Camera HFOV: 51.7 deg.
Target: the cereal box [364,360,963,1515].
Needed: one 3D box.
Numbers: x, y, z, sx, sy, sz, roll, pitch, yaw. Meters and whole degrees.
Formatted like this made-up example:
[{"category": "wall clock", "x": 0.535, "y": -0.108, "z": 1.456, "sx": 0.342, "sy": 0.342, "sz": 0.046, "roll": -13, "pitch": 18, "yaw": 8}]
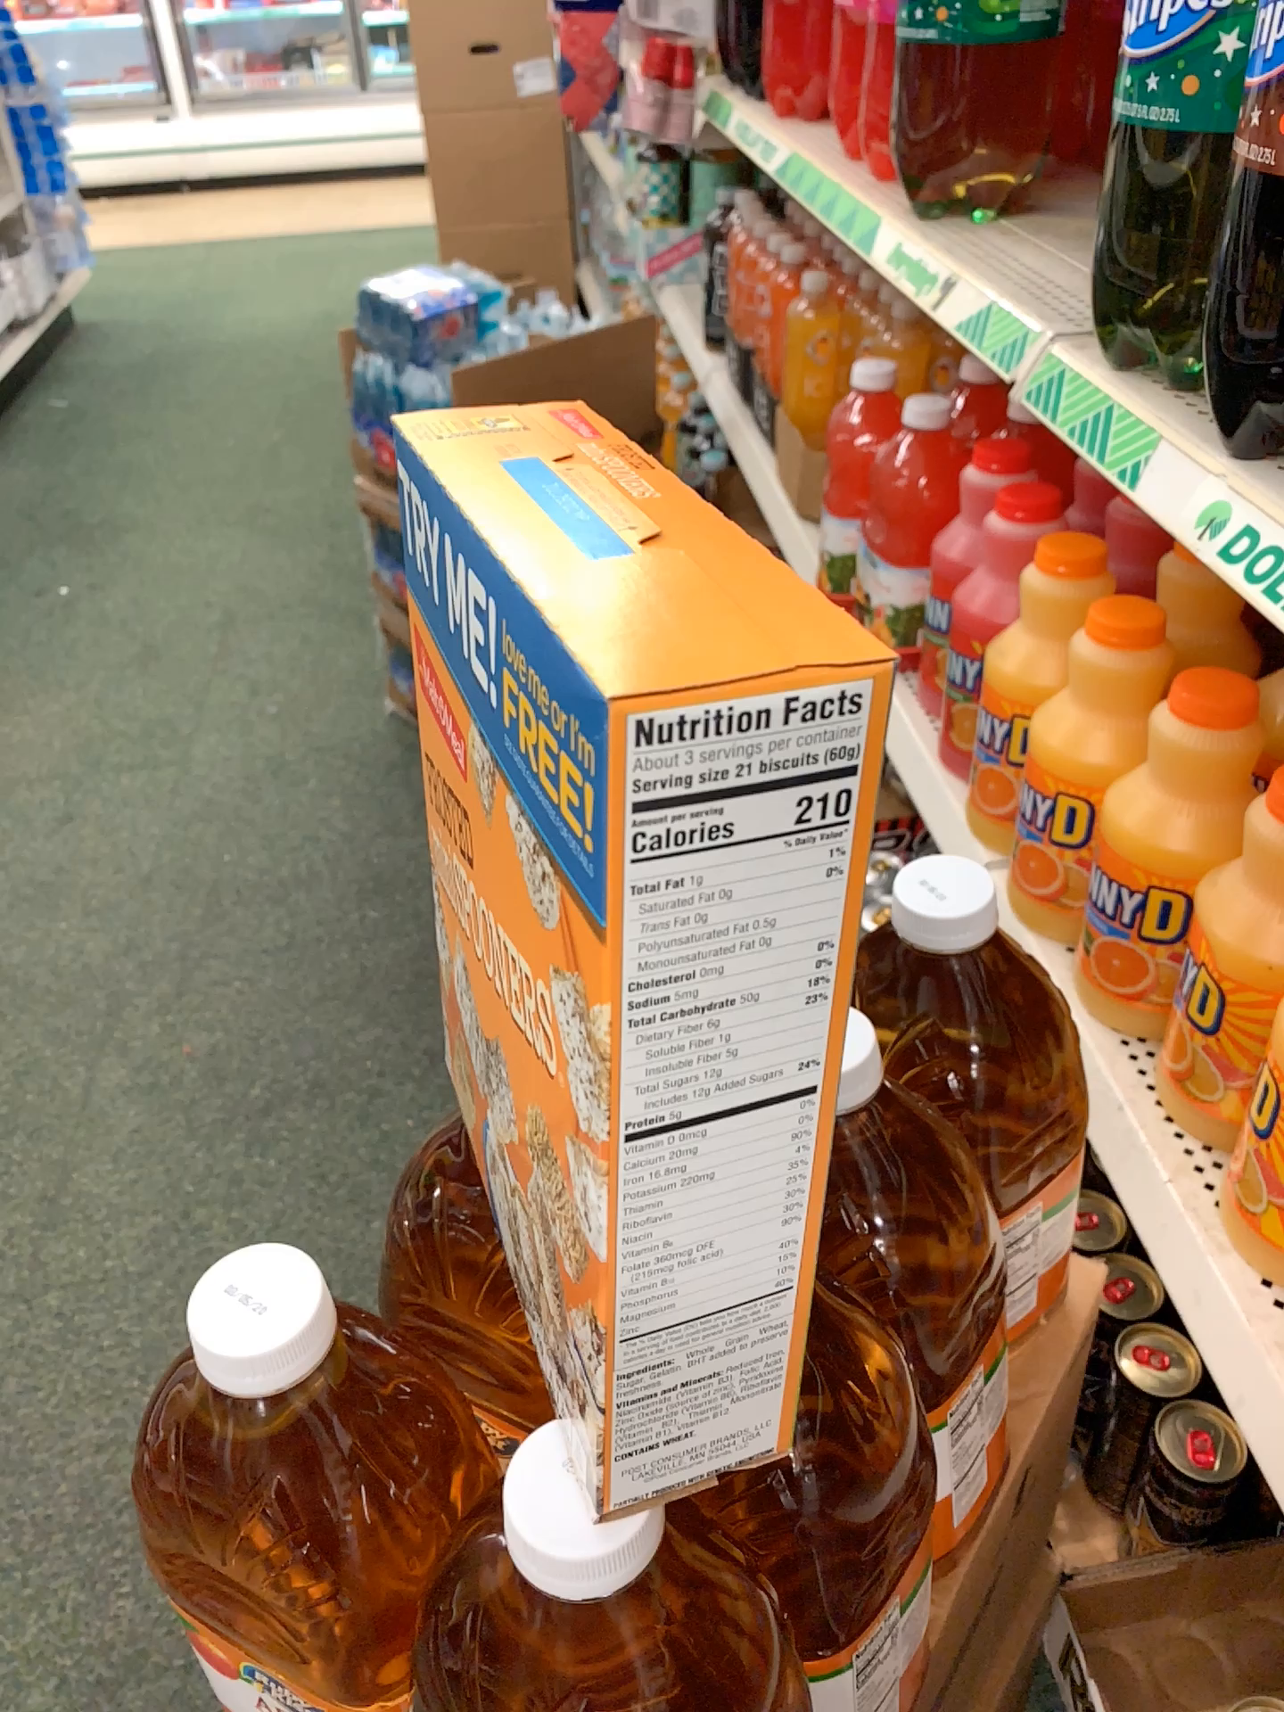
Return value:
[{"category": "cereal box", "x": -0.013, "y": 0.015, "z": 0.327, "sx": 0.060, "sy": 0.219, "sz": 0.171, "roll": -10, "pitch": 37, "yaw": -19}]
